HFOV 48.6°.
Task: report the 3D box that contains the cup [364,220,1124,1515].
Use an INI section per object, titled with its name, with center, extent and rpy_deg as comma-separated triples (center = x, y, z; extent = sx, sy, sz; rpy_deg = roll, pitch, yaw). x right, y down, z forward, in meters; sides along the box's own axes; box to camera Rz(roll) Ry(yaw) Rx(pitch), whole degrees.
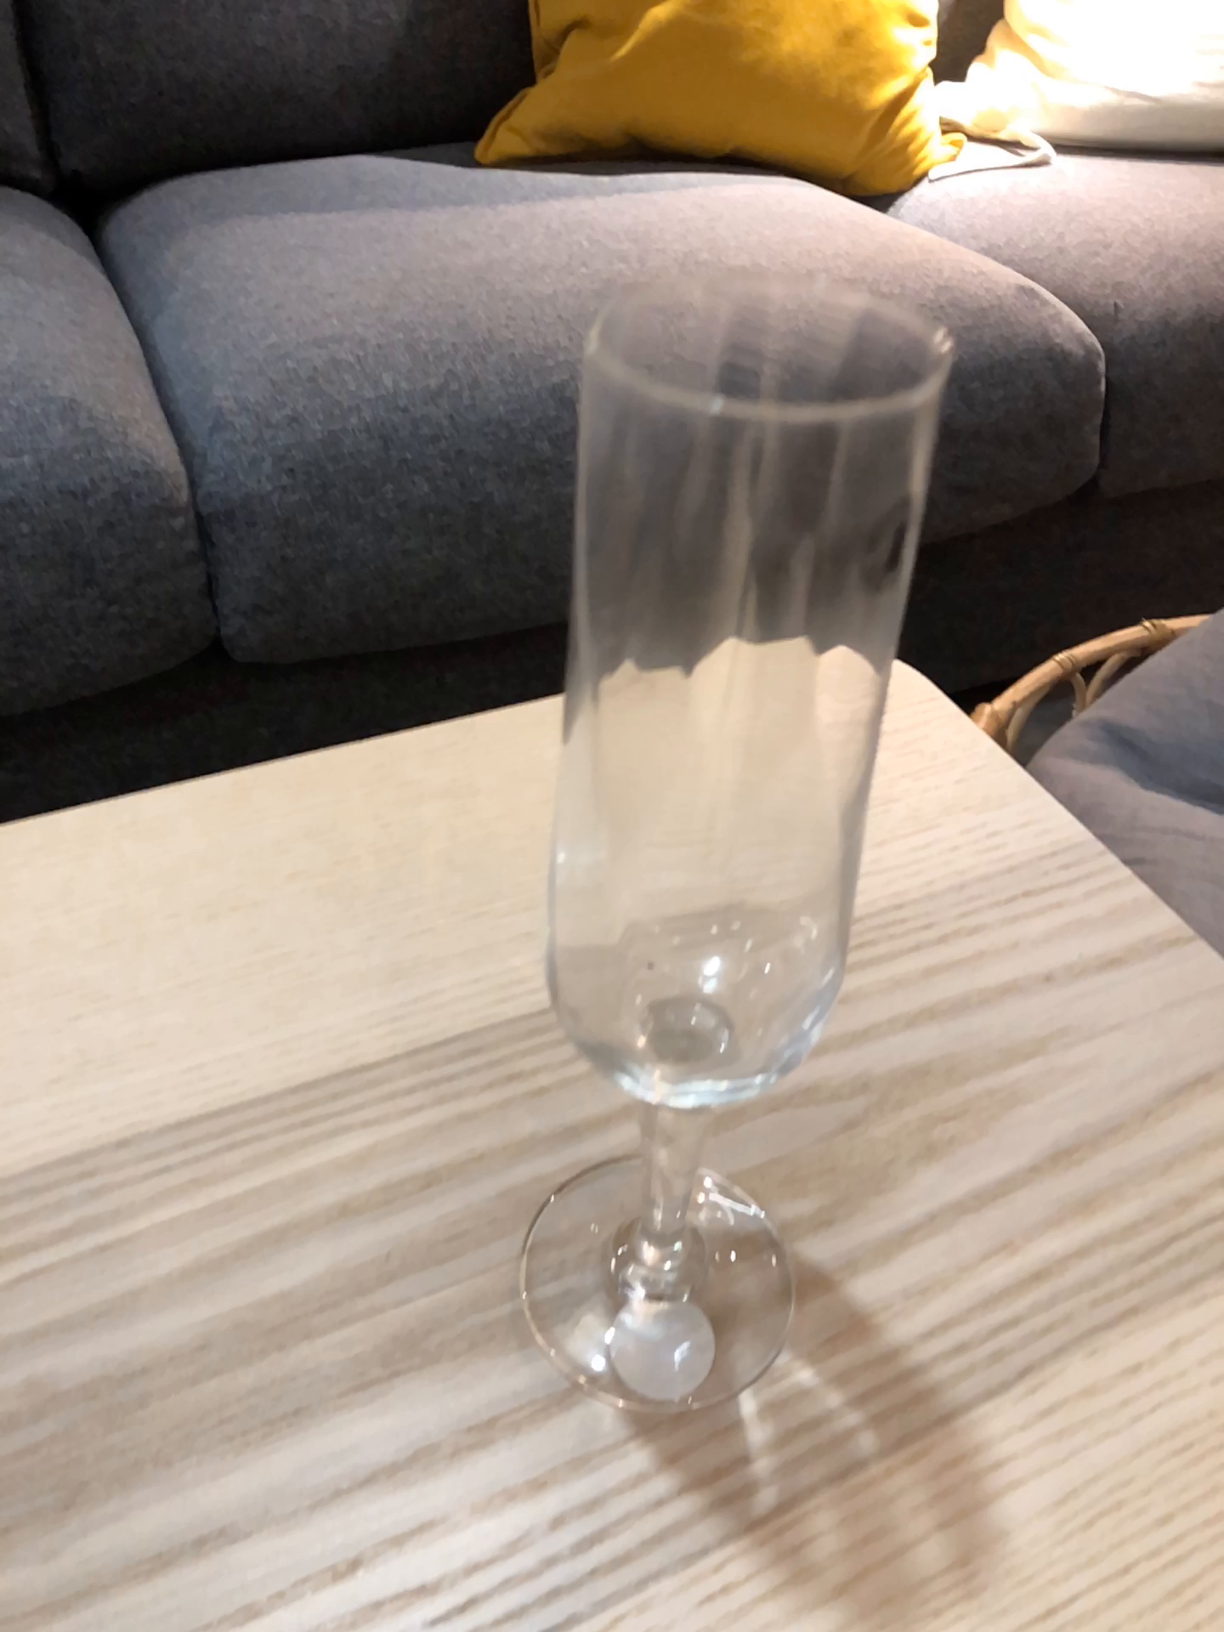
[cup]
center = 0.017, 0.027, 0.262
extent = 0.080, 0.239, 0.080
rpy_deg = 2, 40, -2
